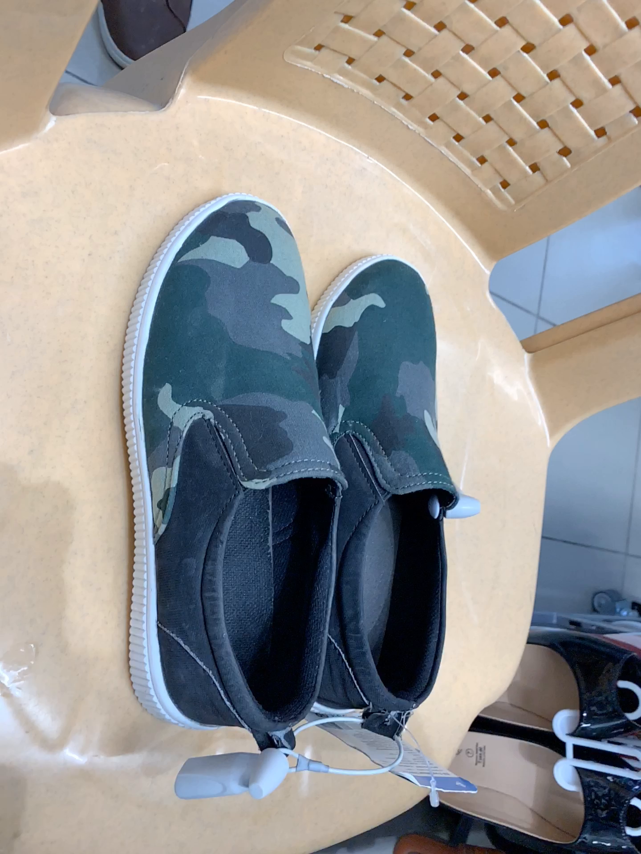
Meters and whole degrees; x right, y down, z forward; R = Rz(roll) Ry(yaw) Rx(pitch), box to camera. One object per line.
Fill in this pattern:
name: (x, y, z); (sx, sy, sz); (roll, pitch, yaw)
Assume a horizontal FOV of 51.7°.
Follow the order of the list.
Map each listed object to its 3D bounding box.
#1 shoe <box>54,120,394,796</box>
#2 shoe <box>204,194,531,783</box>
shoe: (-0.043, 0.011, 0.281); (0.090, 0.100, 0.220); (7, 85, -35)
shoe: (0.025, 0.029, 0.332); (0.090, 0.100, 0.240); (16, 77, -34)
